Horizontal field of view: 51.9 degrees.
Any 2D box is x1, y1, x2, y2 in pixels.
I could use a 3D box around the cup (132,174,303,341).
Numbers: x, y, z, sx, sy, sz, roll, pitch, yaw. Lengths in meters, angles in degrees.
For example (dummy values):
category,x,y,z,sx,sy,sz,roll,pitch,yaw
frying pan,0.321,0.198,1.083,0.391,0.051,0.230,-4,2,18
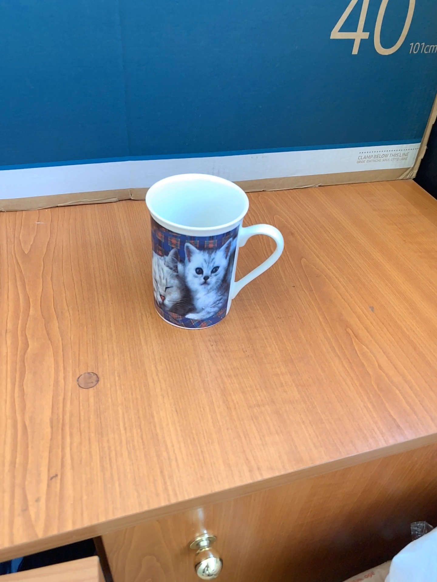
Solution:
category,x,y,z,sx,sy,sz,roll,pitch,yaw
cup,-0.007,-0.026,0.350,0.110,0.100,0.080,-1,42,-7
